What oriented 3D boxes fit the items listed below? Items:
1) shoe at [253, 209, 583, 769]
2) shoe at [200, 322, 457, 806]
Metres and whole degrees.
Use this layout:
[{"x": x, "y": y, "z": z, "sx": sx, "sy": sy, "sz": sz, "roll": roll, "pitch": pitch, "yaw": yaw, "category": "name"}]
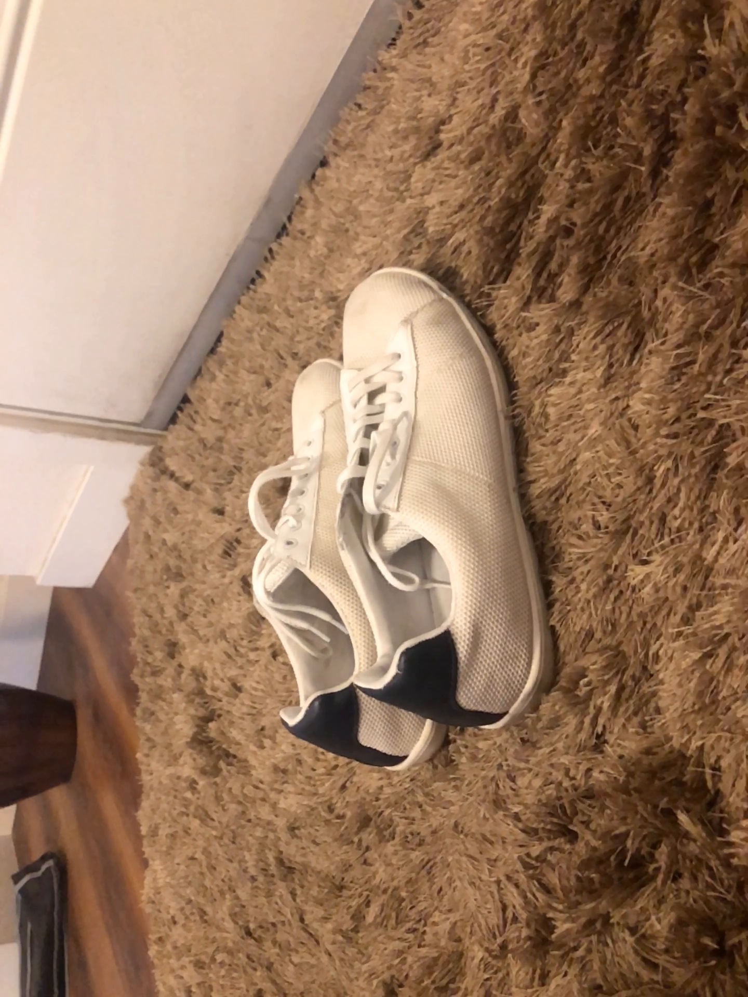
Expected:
[{"x": 0.008, "y": -0.008, "z": 0.434, "sx": 0.105, "sy": 0.079, "sz": 0.264, "roll": -43, "pitch": 50, "yaw": 47, "category": "shoe"}, {"x": -0.039, "y": 0.035, "z": 0.503, "sx": 0.101, "sy": 0.079, "sz": 0.264, "roll": -43, "pitch": 50, "yaw": 47, "category": "shoe"}]
